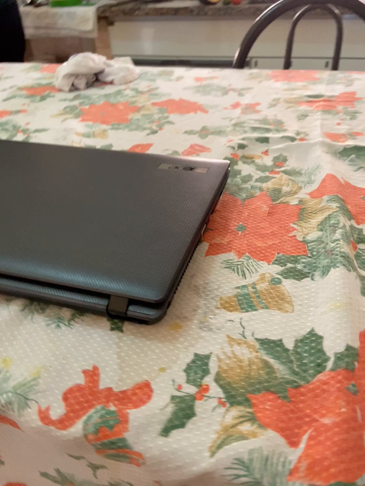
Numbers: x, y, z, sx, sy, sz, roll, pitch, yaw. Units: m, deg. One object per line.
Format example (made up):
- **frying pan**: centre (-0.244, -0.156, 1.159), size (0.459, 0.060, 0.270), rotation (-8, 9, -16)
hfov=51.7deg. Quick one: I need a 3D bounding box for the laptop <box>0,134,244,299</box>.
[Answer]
- **laptop**: centre (-0.130, -0.056, 0.394), size (0.350, 0.001, 0.224), rotation (9, 40, 15)
